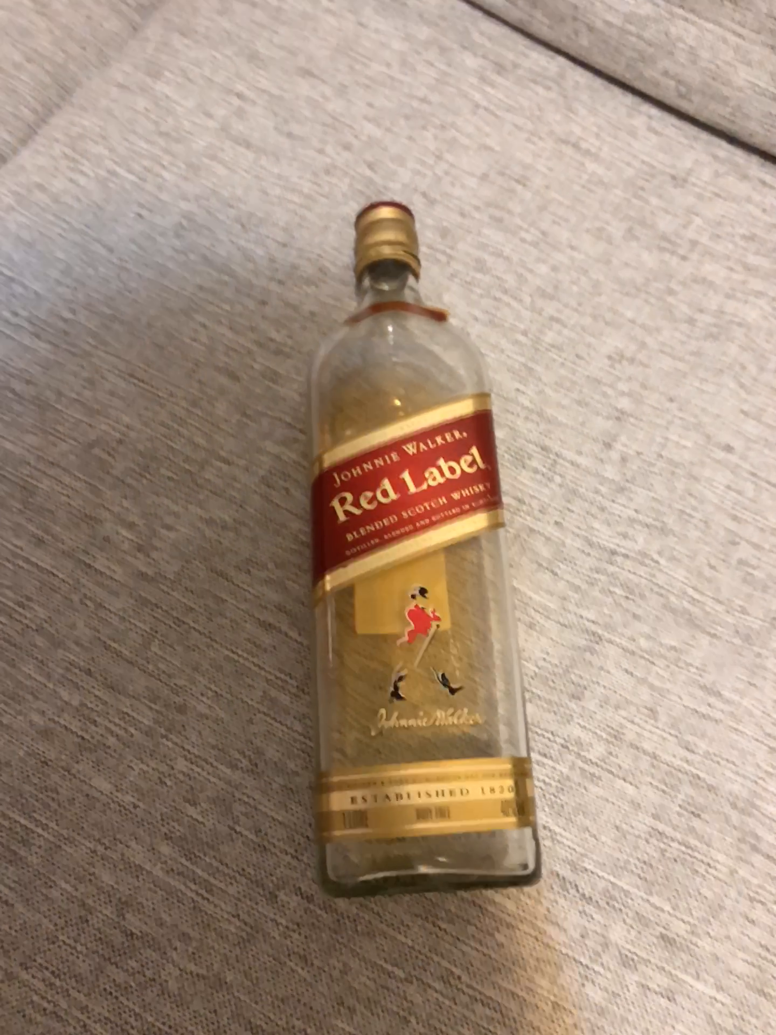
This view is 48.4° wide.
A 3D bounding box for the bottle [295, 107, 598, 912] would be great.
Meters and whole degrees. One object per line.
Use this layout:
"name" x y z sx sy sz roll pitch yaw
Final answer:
"bottle" 0.011 -0.016 0.350 0.090 0.070 0.310 -1 71 -5
